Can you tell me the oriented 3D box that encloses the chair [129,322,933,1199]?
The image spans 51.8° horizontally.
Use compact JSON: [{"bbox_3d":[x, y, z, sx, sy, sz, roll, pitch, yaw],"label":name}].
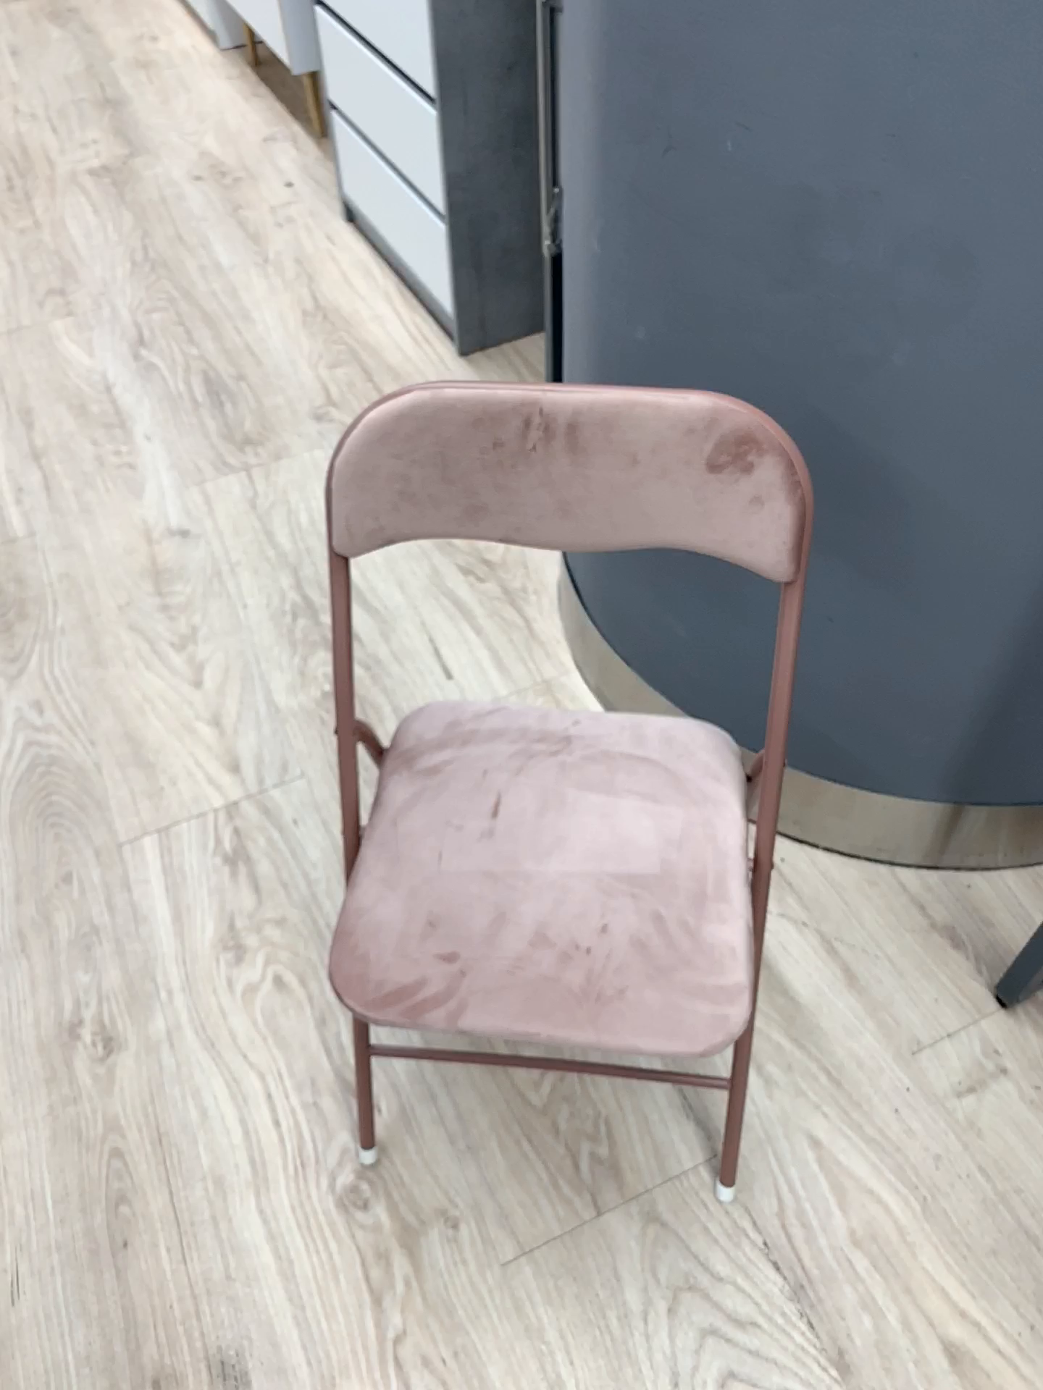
[{"bbox_3d":[0.027,0.123,1.072,0.460,0.797,0.482,2,51,4],"label":"chair"}]
